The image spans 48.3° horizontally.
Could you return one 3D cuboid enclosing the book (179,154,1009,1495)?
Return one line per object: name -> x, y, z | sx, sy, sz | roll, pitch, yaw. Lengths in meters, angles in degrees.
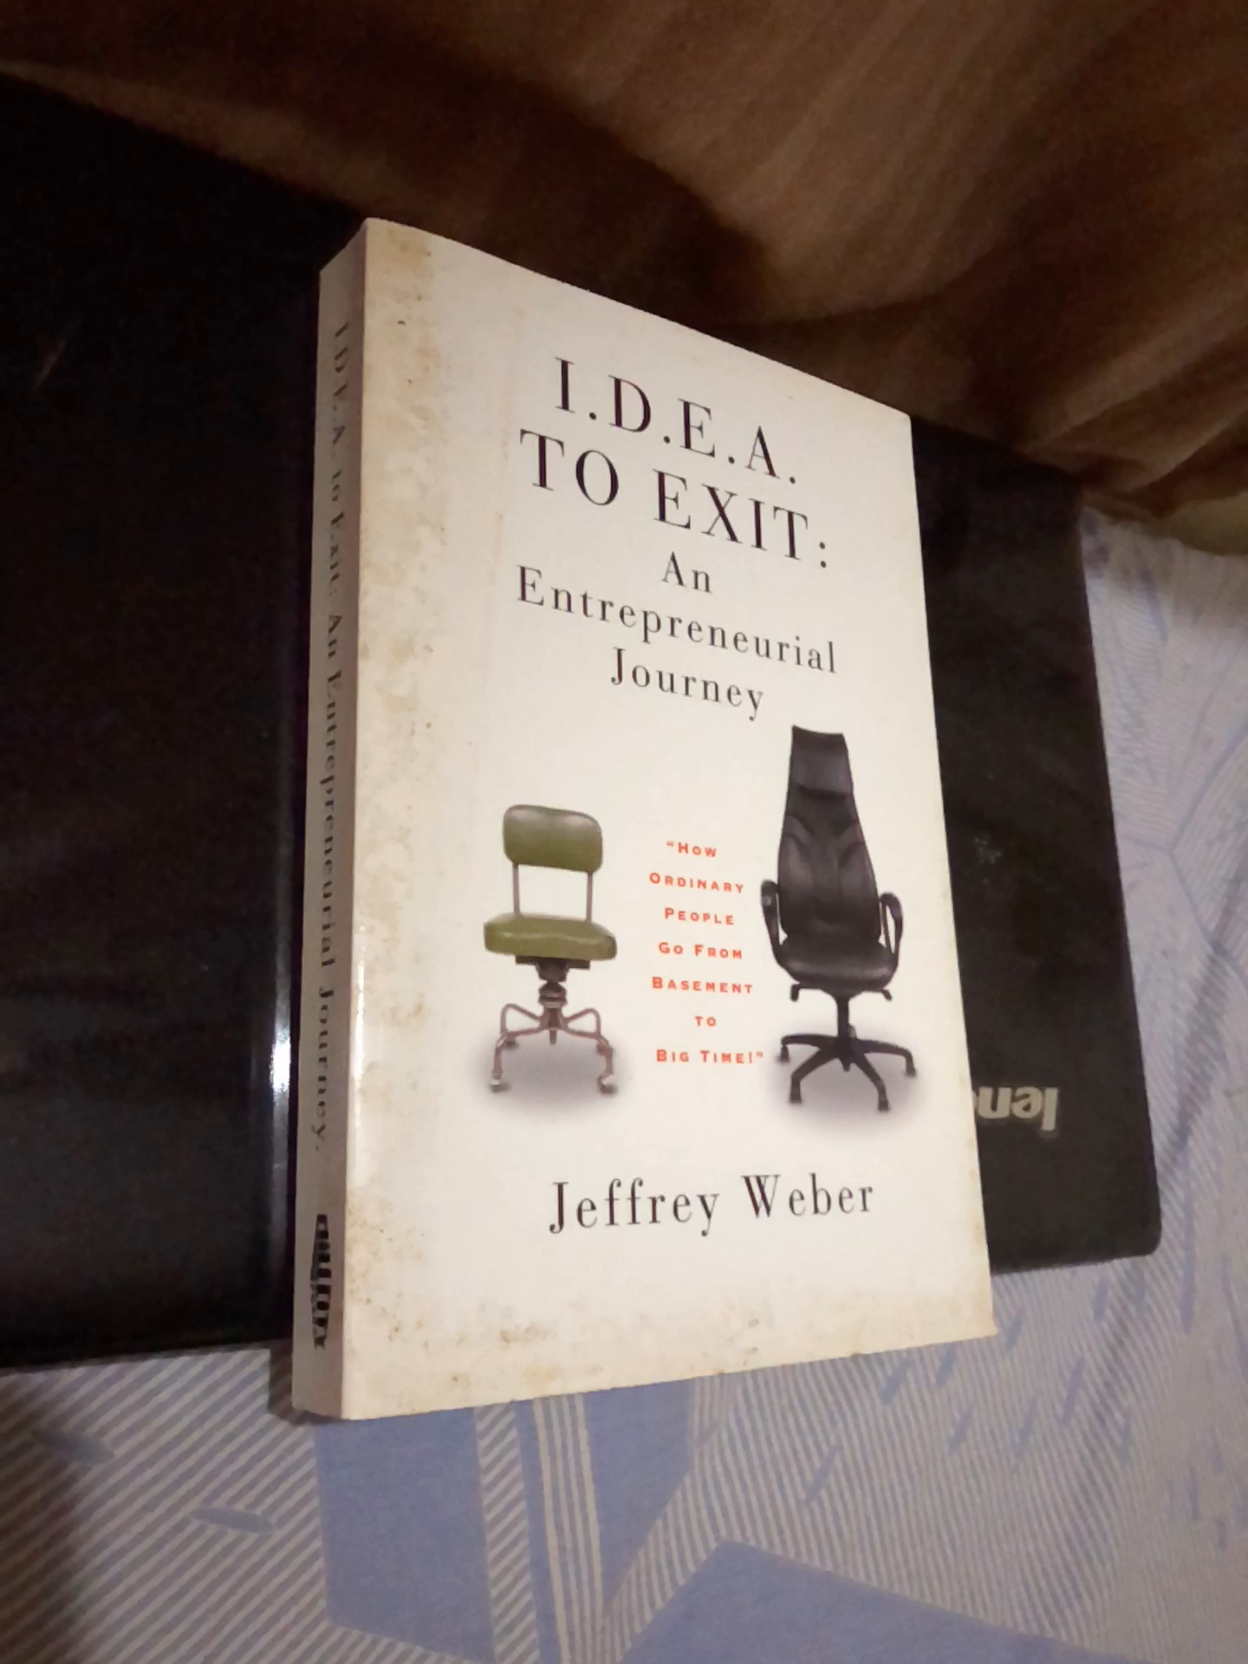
book -> -0.001, -0.004, 0.291 | 0.161, 0.030, 0.240 | 9, 69, -32
